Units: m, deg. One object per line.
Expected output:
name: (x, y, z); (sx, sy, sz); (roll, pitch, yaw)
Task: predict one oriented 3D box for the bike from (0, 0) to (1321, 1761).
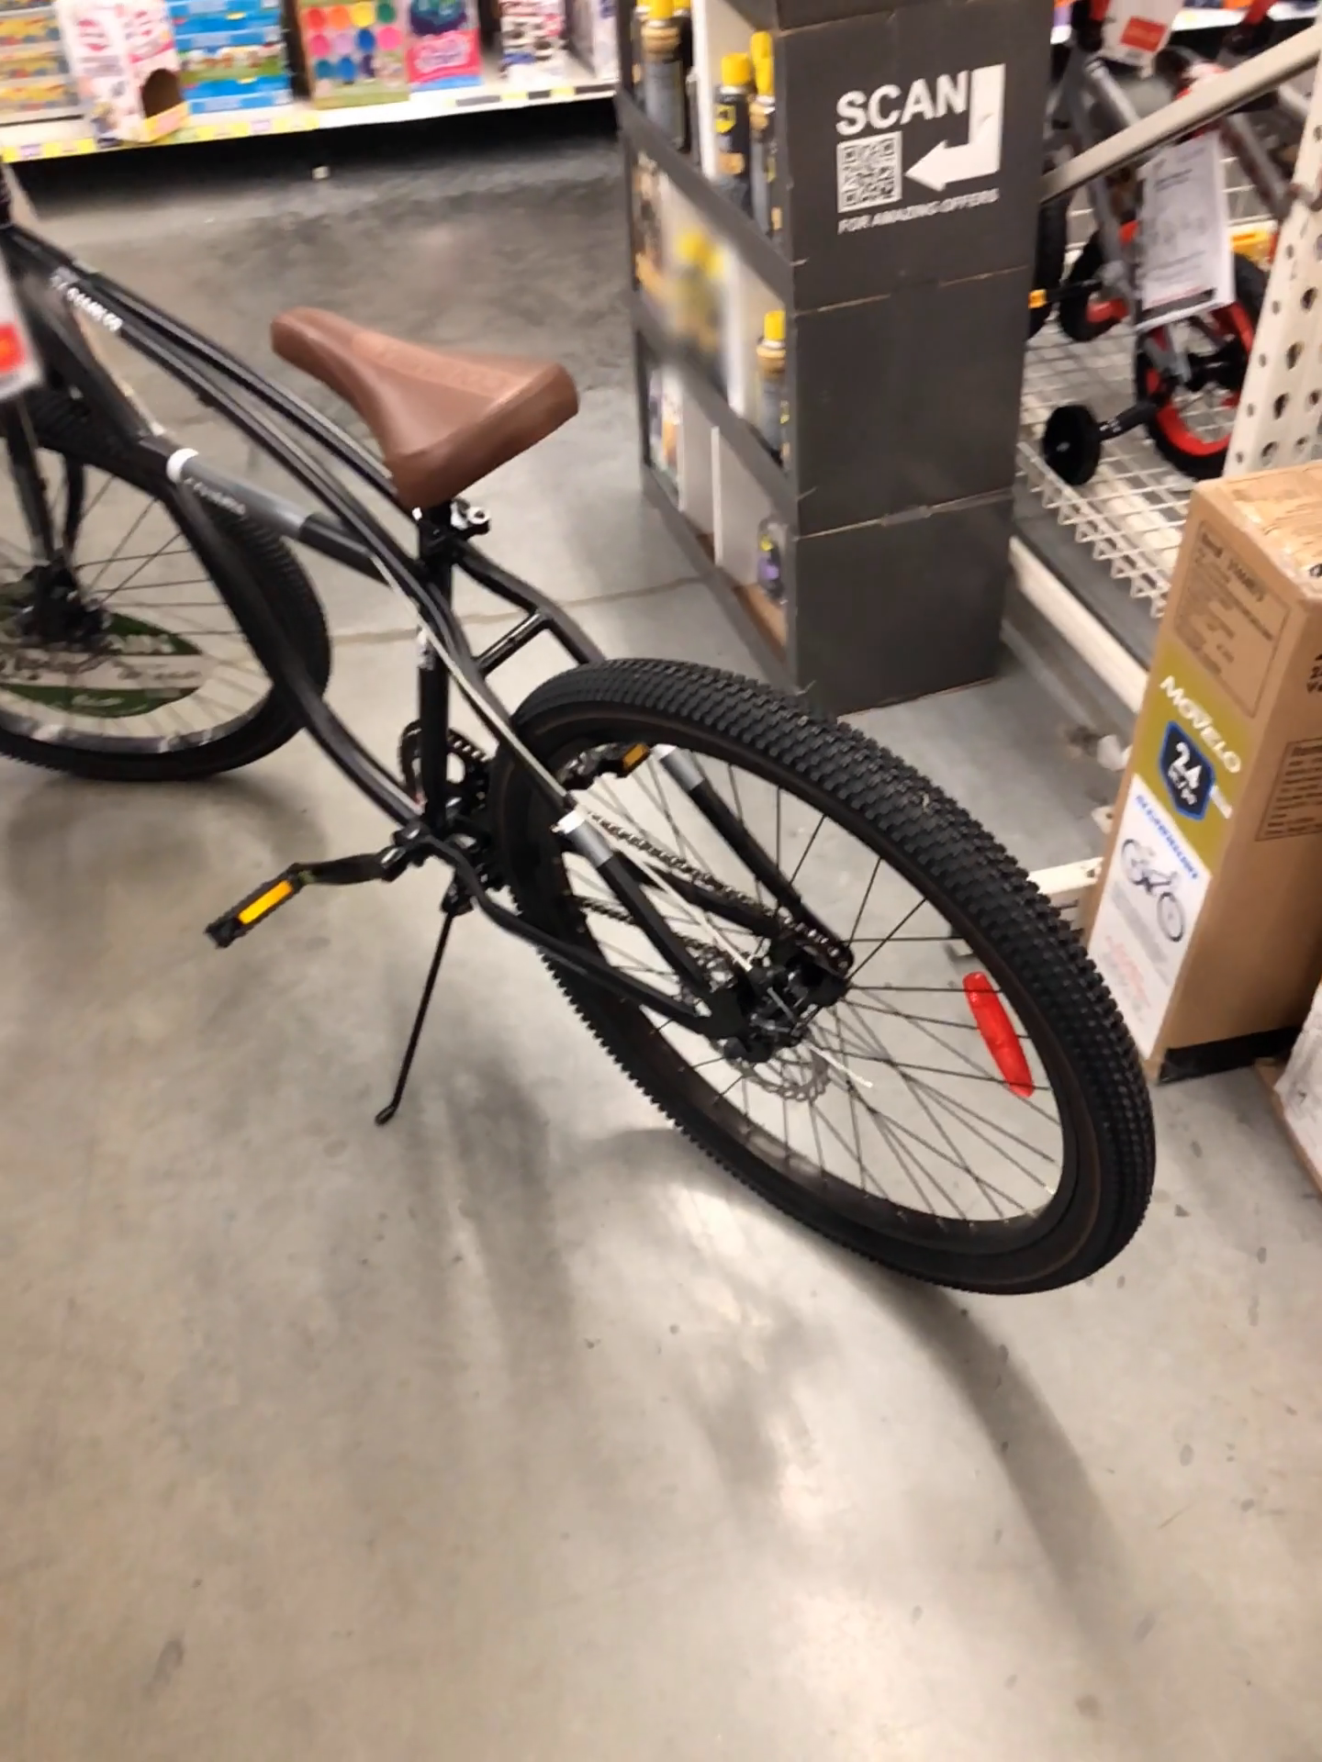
bike: (-0.381, -0.236, 1.158); (1.586, 0.975, 0.654); (26, 50, 22)
